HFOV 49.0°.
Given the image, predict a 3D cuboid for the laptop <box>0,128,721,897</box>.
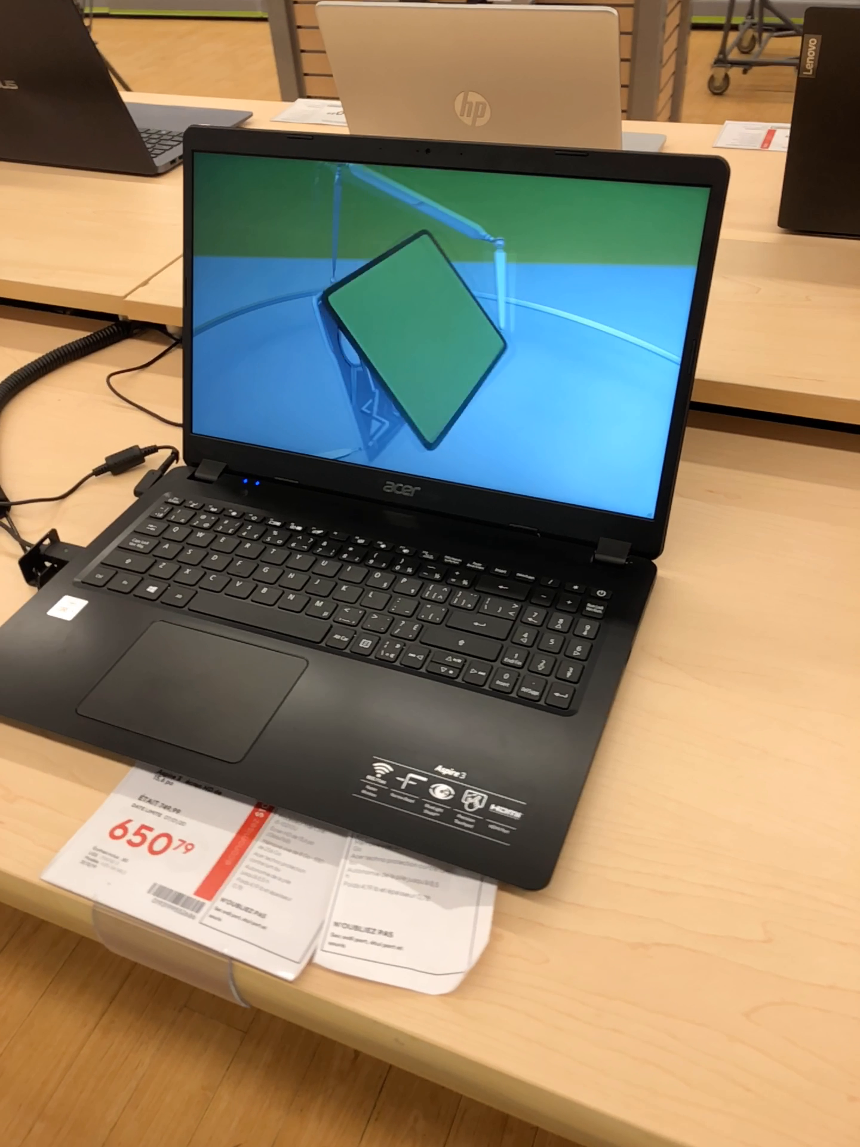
[{"bbox_3d":[-0.059,-0.077,0.525,0.355,0.210,0.328,13,44,19],"label":"laptop"}]
